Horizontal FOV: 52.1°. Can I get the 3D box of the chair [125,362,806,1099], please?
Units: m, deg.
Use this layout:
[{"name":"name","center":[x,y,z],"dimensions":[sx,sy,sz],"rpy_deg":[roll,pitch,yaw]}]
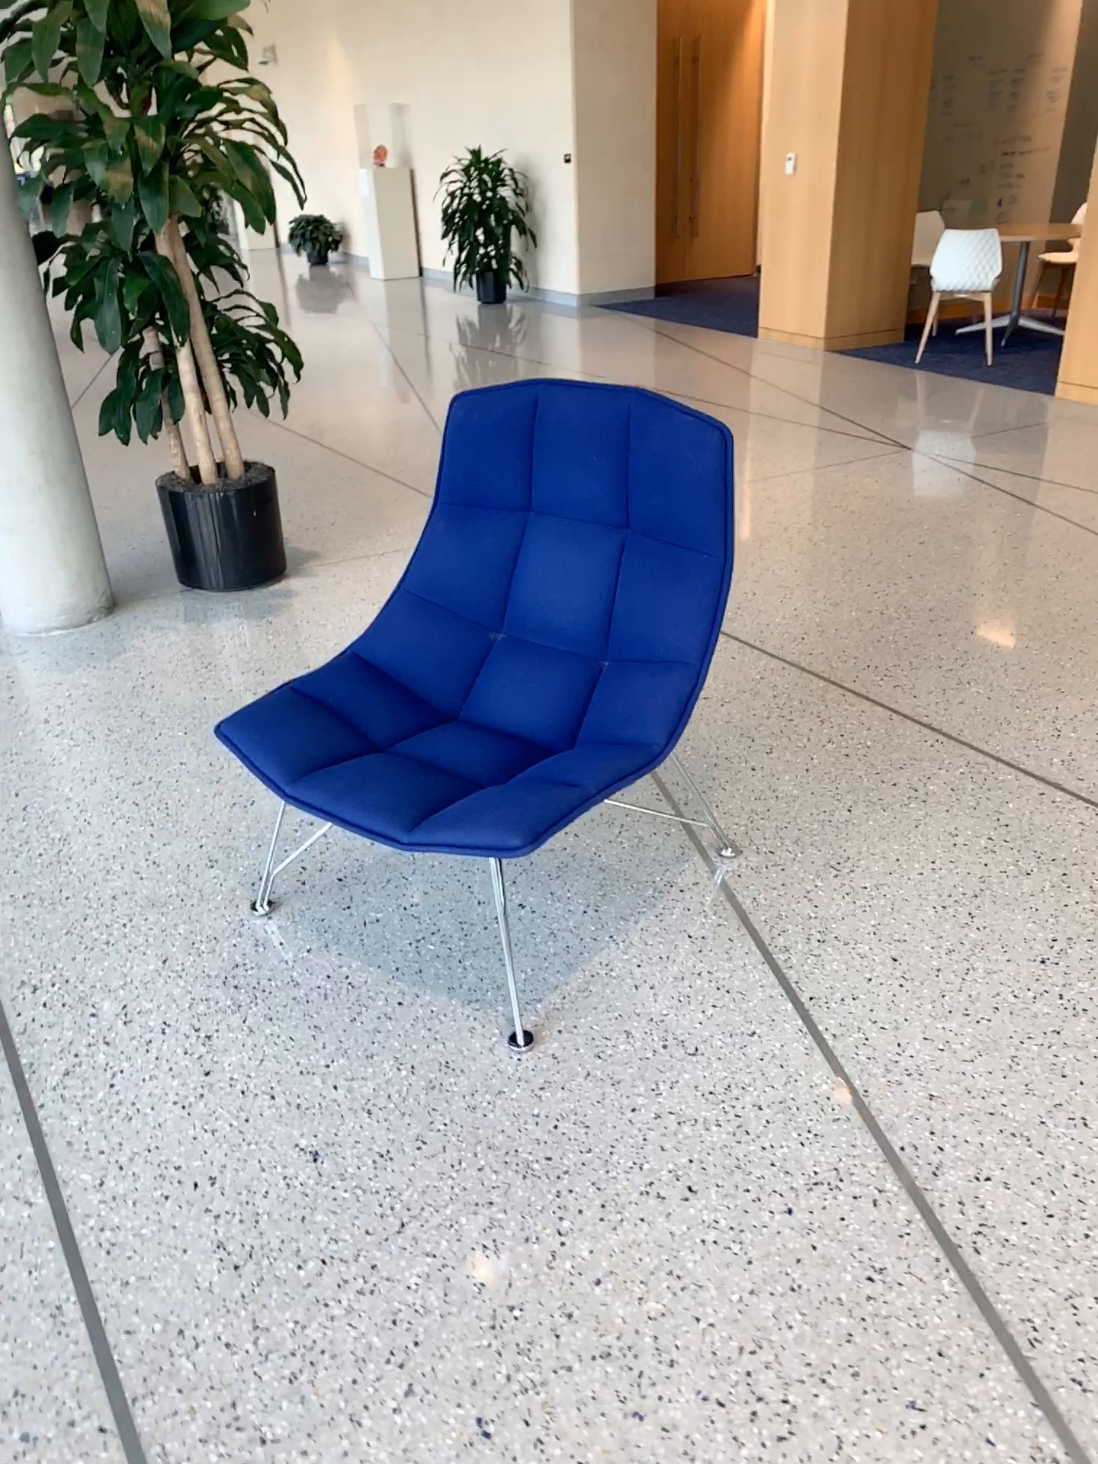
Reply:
[{"name":"chair","center":[-0.103,-0.102,2.105],"dimensions":[0.801,0.964,0.832],"rpy_deg":[18,33,35]}]
